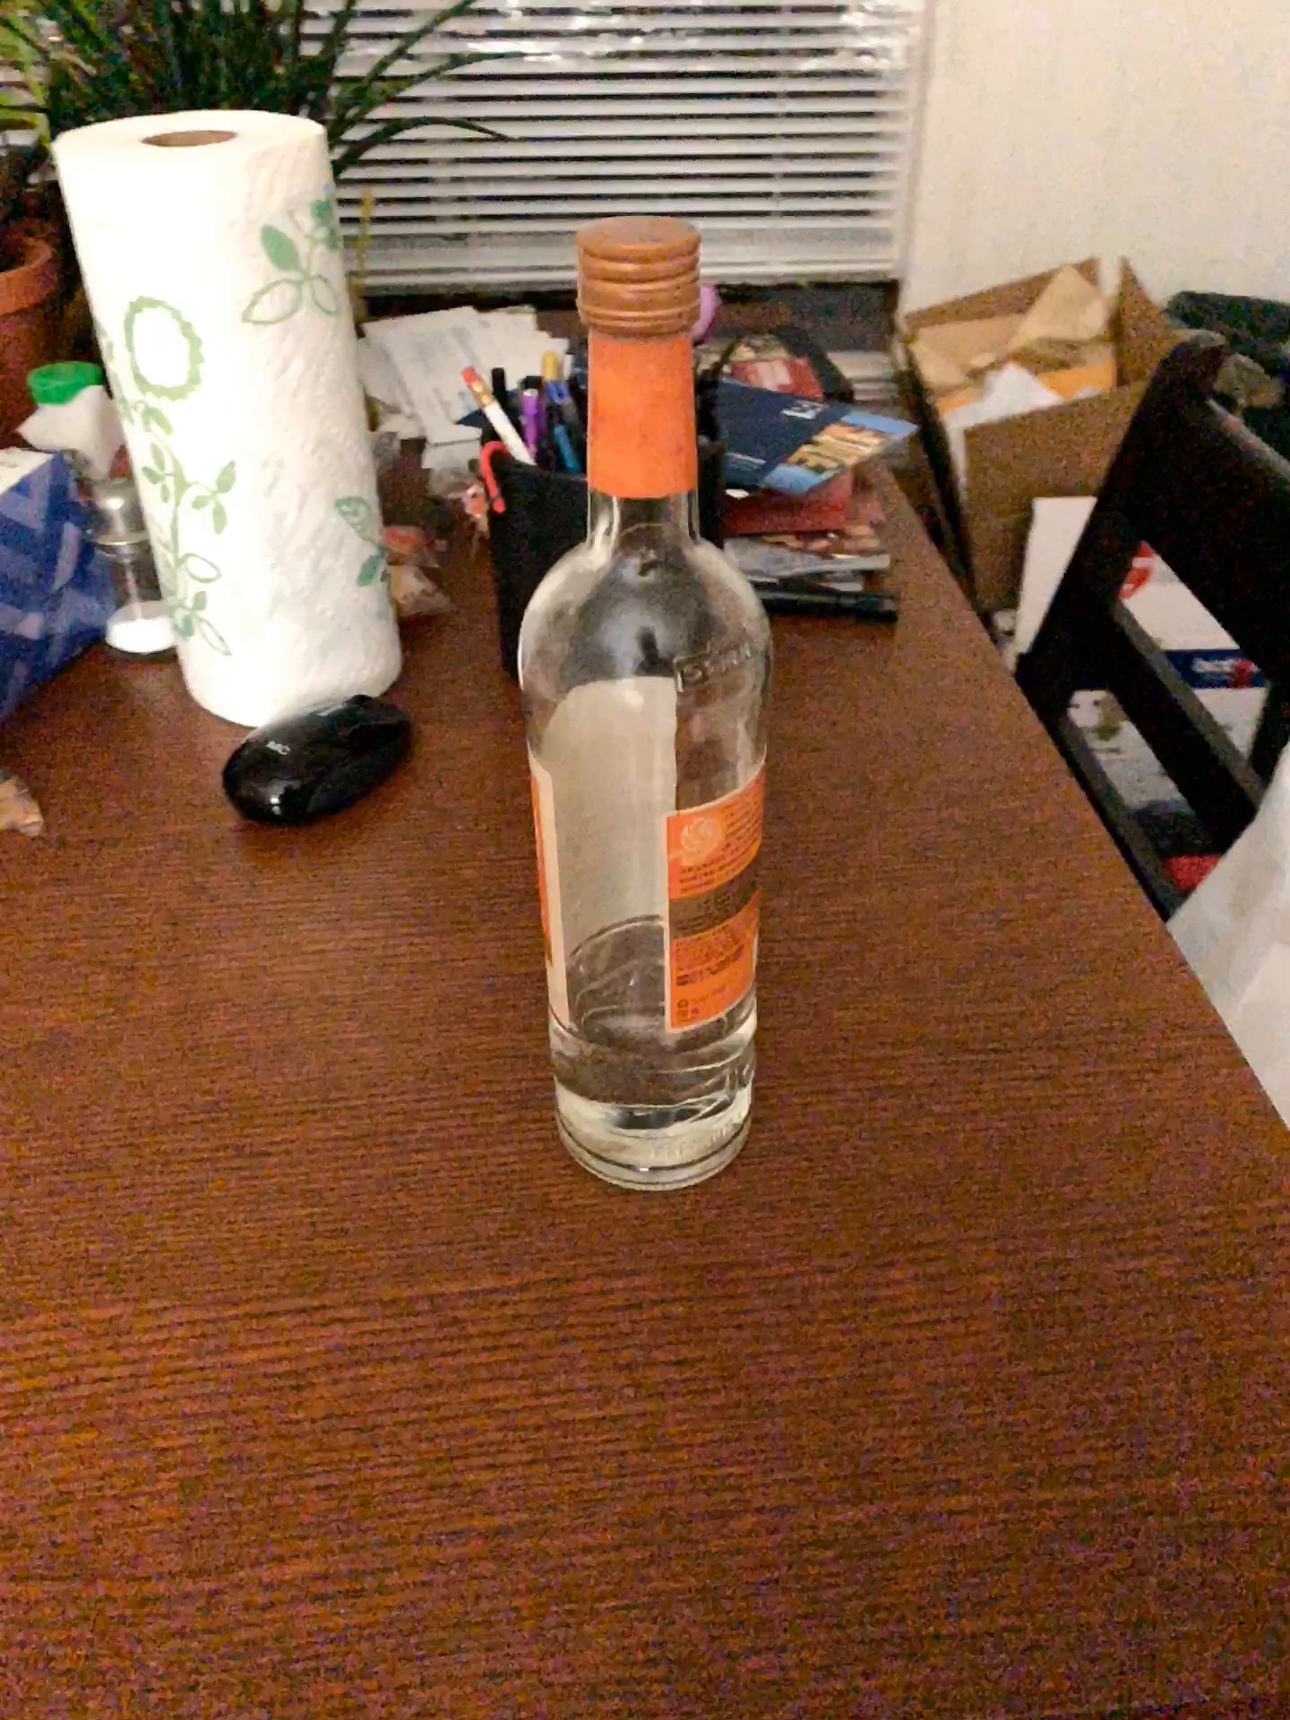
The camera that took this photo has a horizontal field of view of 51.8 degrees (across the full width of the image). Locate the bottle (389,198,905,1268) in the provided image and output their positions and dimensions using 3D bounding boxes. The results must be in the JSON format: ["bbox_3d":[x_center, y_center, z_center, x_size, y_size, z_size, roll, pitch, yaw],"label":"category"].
[{"bbox_3d":[0.004,-0.021,0.395,0.080,0.298,0.090,25,44,30],"label":"bottle"}]
